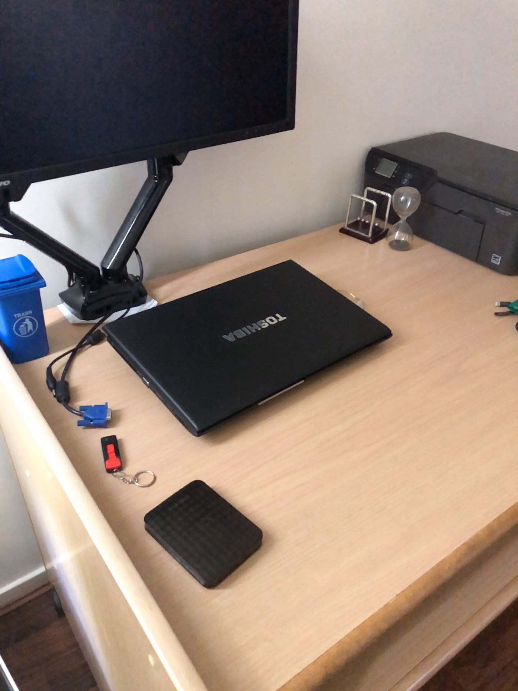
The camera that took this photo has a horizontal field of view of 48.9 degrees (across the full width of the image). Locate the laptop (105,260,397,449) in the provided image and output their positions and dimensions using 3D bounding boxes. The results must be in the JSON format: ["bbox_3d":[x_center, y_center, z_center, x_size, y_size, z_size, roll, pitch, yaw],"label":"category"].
[{"bbox_3d":[-0.004,-0.013,0.898,0.380,0.029,0.257,-24,48,-33],"label":"laptop"}]
